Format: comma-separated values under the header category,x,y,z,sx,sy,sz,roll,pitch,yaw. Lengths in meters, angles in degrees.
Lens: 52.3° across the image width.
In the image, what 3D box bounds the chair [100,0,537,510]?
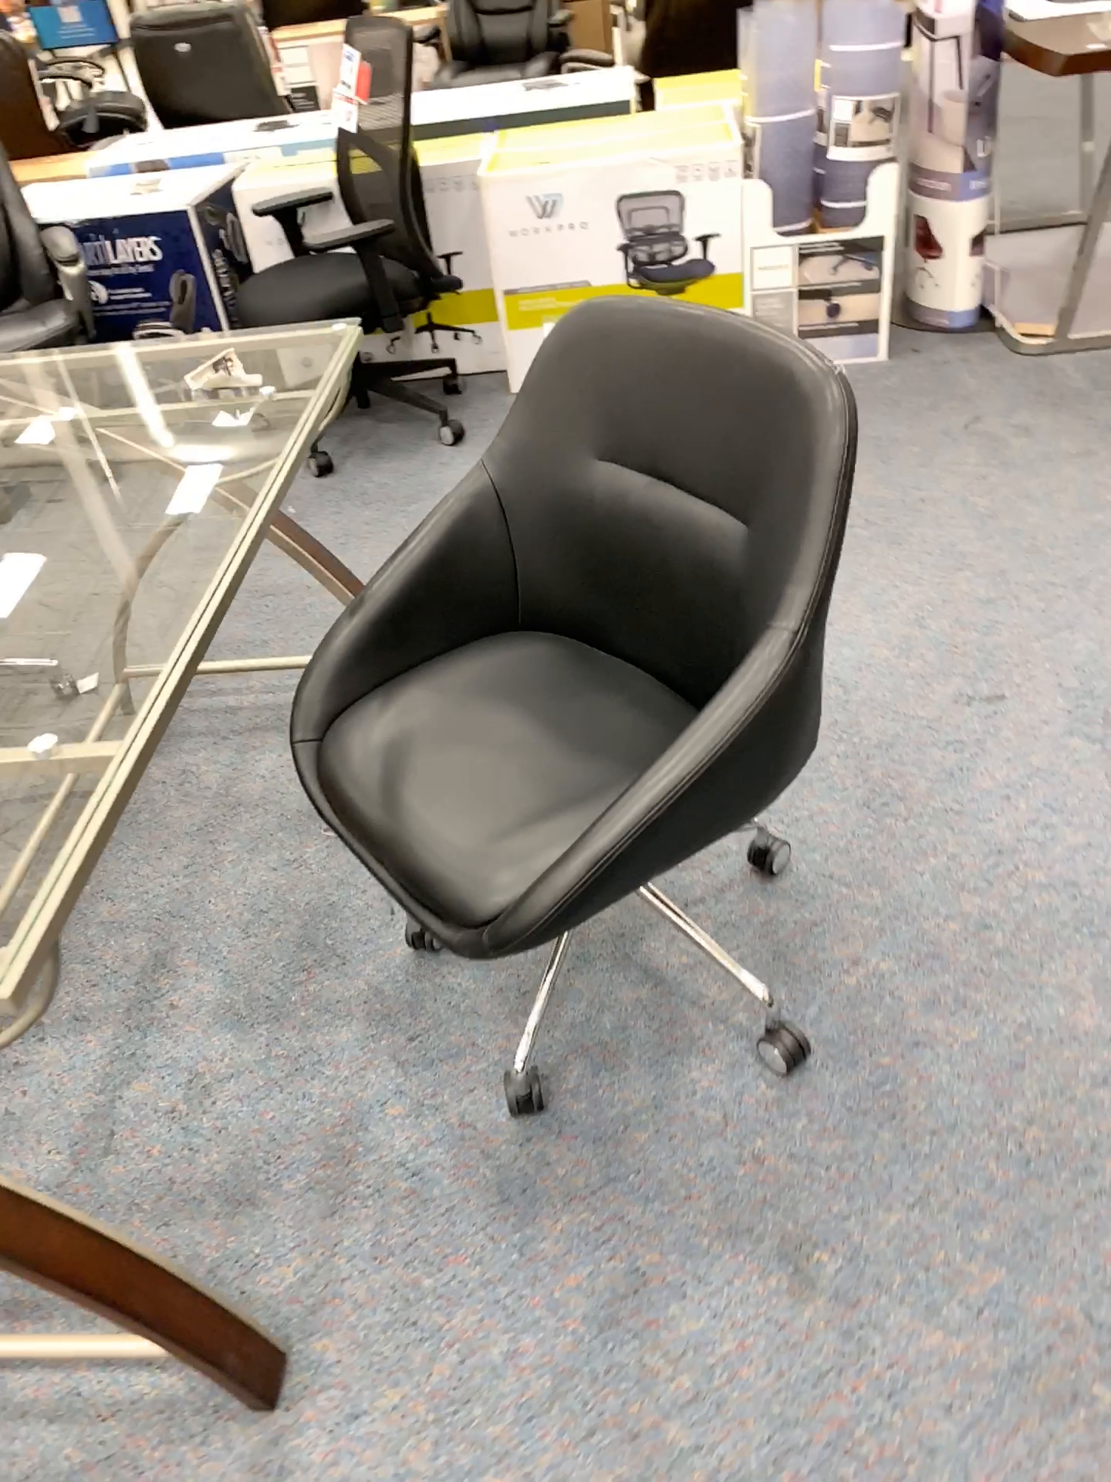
category,x,y,z,sx,sy,sz,roll,pitch,yaw
chair,-0.639,-1.368,3.135,0.824,1.013,0.821,-18,39,-12

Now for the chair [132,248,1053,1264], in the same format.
category,x,y,z,sx,sy,sz,roll,pitch,yaw
chair,0.055,-0.026,1.389,0.655,0.844,0.659,-30,43,-25

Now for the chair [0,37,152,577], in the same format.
category,x,y,z,sx,sy,sz,roll,pitch,yaw
chair,-1.800,-1.216,3.142,0.897,1.063,0.899,-11,38,-3
